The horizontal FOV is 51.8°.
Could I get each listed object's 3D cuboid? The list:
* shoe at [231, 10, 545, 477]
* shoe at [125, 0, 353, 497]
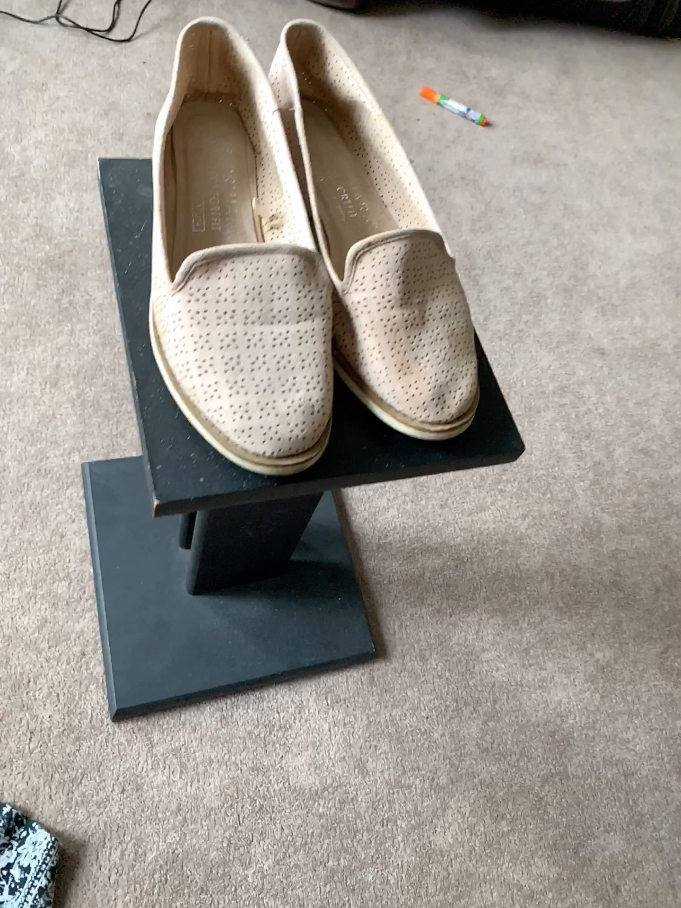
[{"bbox_3d":[0.017,-0.124,0.406,0.080,0.080,0.251,-14,76,-22],"label":"shoe"},{"bbox_3d":[-0.064,-0.112,0.378,0.080,0.080,0.251,-4,71,-17],"label":"shoe"}]
